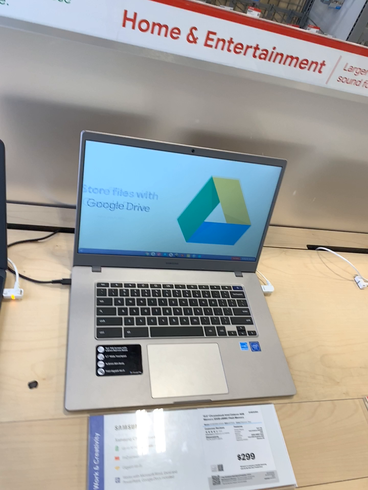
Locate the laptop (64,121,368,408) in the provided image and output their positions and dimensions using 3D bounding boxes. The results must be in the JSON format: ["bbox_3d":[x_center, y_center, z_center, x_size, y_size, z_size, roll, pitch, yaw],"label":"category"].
[{"bbox_3d":[0.010,0.026,0.579,0.351,0.205,0.338,3,49,-17],"label":"laptop"}]

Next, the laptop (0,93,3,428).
[{"bbox_3d":[-0.413,0.015,0.445,0.320,0.193,0.294,3,48,-18],"label":"laptop"}]
